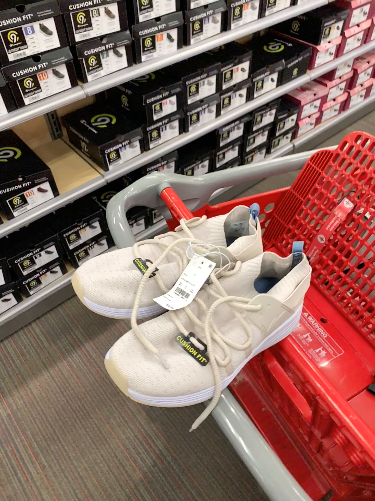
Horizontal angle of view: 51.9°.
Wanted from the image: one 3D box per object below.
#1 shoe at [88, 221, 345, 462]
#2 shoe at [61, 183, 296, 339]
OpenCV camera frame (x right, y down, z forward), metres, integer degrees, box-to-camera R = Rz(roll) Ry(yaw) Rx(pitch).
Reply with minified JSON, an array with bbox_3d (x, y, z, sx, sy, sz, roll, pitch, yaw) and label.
[{"bbox_3d":[0.039,0.081,0.442,0.280,0.110,0.110,-25,53,-35],"label":"shoe"},{"bbox_3d":[-0.009,0.000,0.516,0.280,0.110,0.110,-13,49,-31],"label":"shoe"}]
